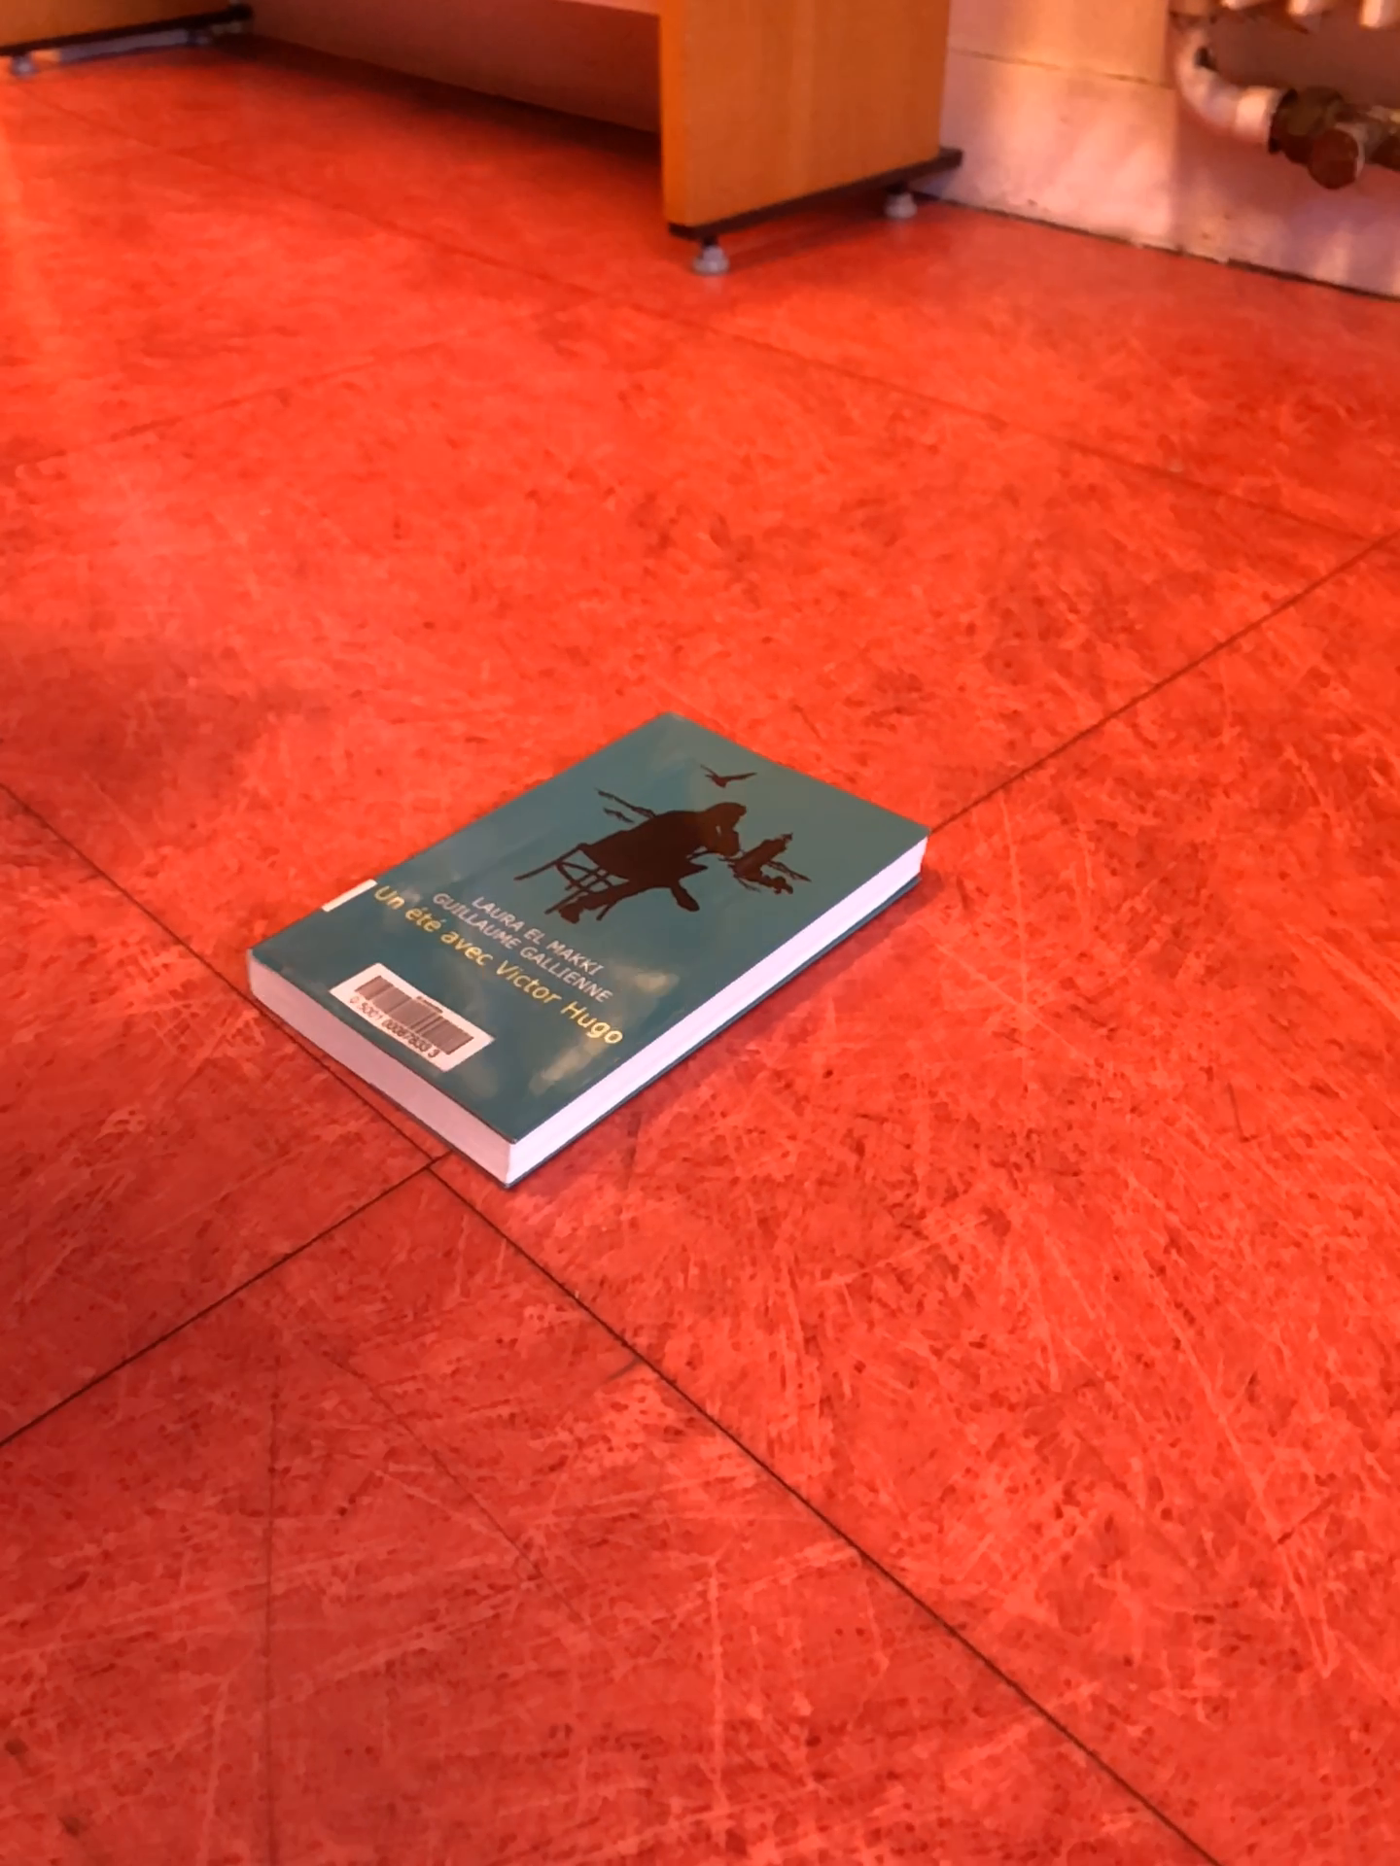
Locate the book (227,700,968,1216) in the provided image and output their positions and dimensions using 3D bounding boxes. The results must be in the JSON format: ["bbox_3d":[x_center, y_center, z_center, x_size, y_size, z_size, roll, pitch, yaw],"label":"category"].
[{"bbox_3d":[-0.023,-0.005,0.421,0.110,0.020,0.171,29,47,33],"label":"book"}]
